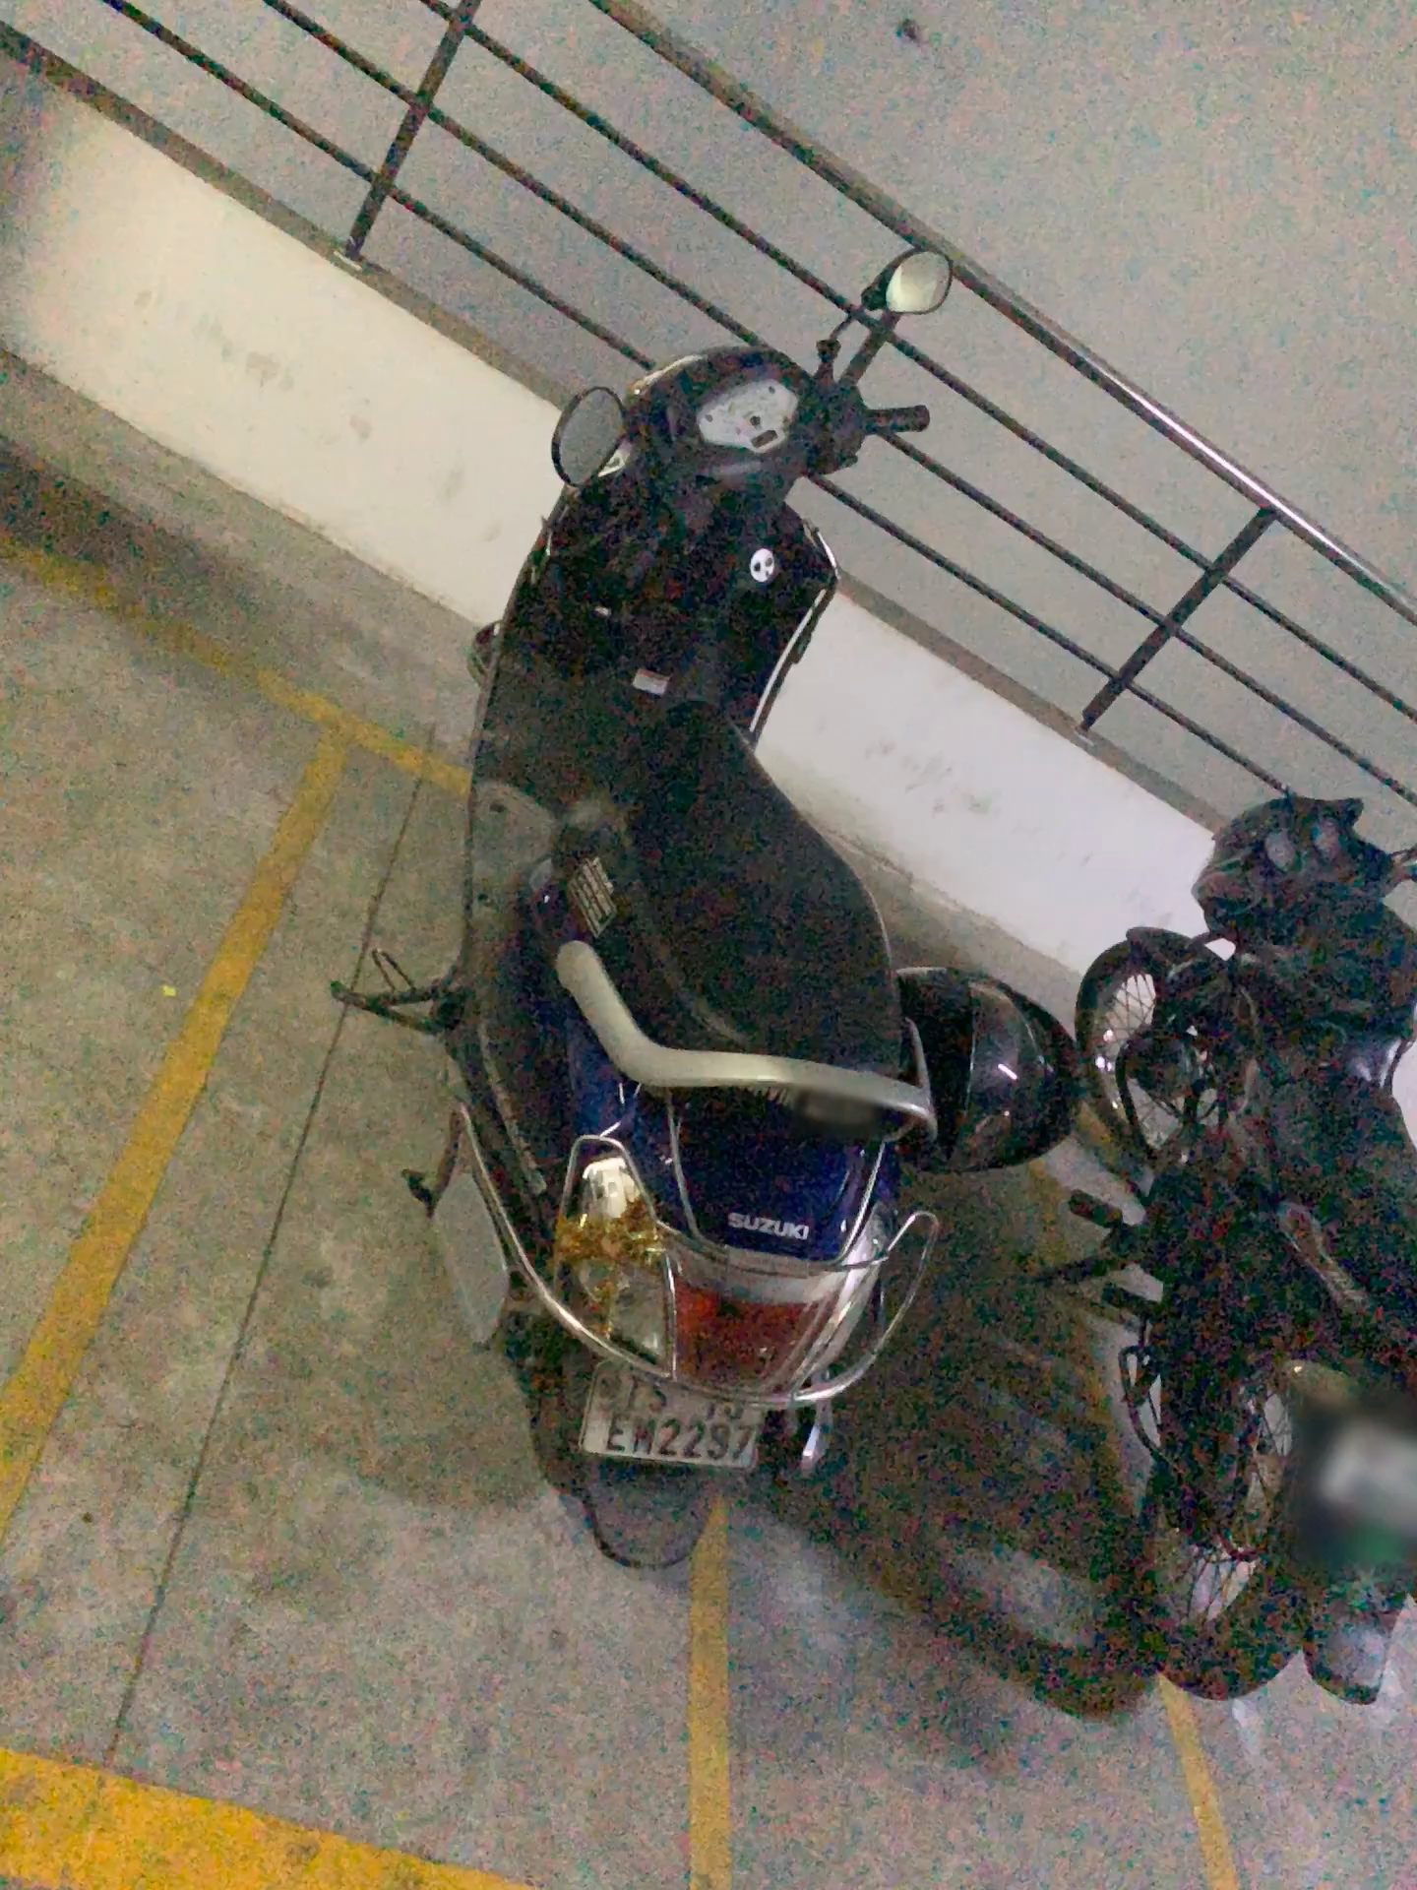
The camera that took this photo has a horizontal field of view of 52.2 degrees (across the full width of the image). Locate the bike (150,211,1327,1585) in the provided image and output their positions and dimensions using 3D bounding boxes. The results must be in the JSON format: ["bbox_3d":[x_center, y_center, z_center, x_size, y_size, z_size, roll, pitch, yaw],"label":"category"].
[{"bbox_3d":[-0.198,-0.139,1.983,0.623,1.157,1.479,21,29,-29],"label":"bike"}]
